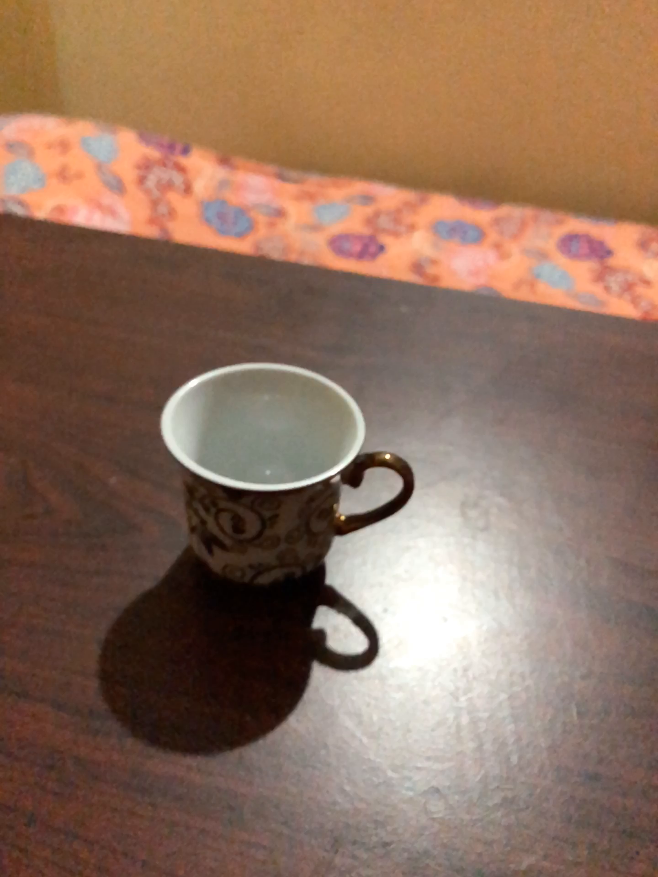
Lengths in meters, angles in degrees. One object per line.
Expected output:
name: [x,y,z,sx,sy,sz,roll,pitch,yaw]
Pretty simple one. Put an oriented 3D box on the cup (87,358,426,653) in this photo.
cup: [-0.017,0.019,0.238,0.090,0.050,0.070,6,38,2]
